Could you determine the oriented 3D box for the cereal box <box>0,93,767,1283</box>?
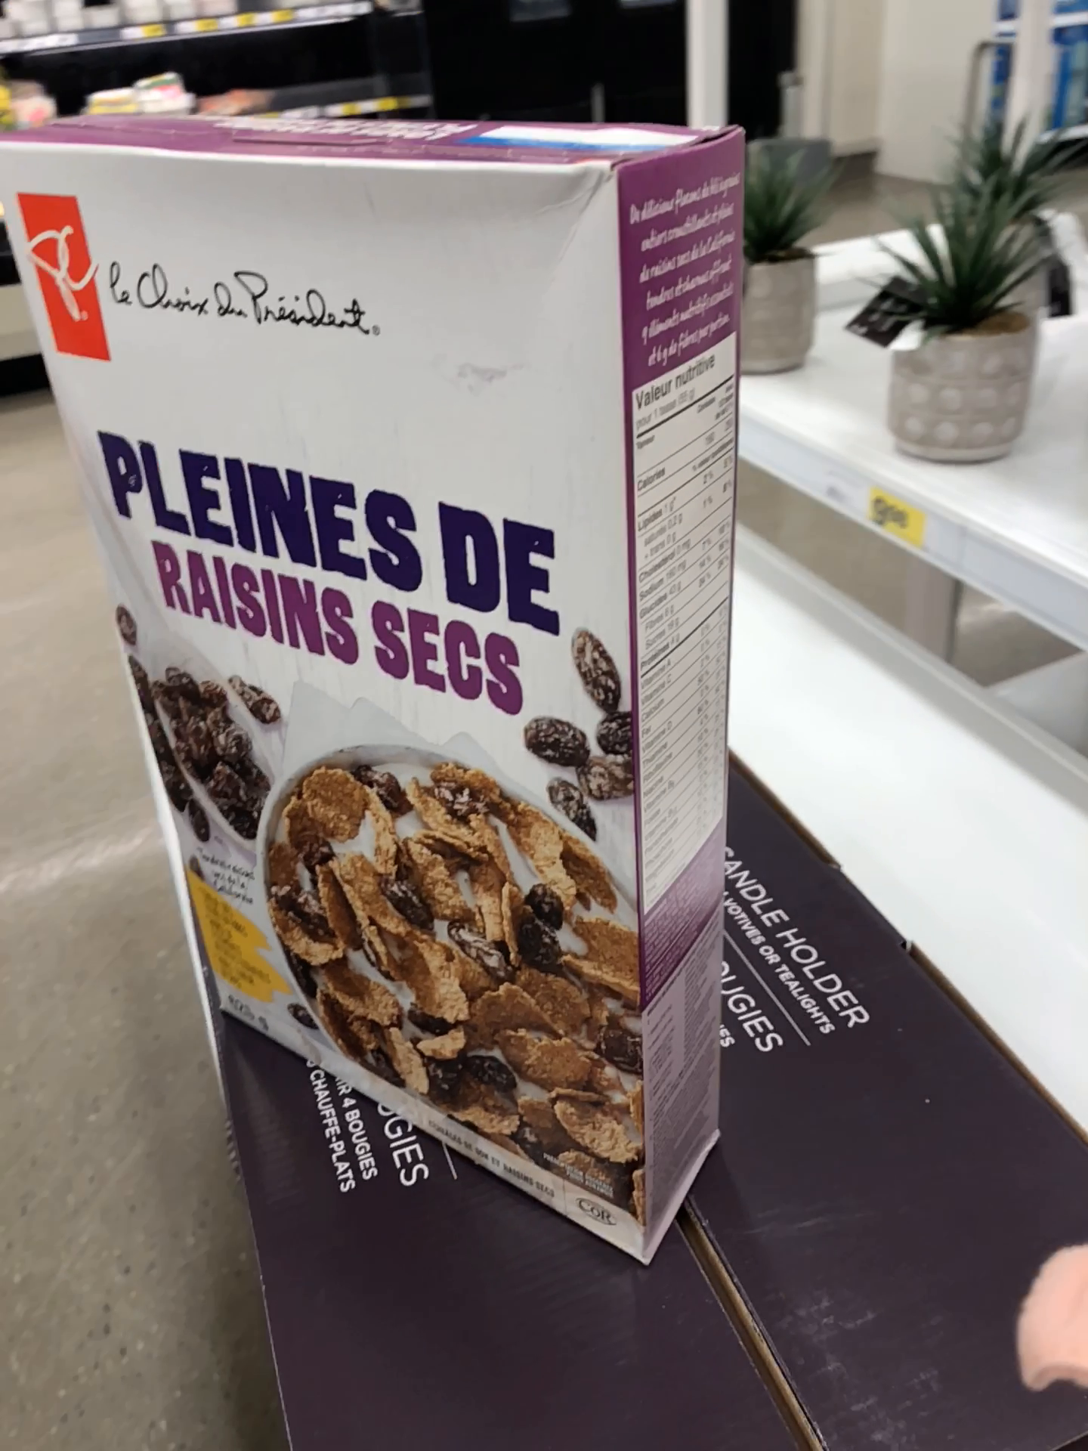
[{"bbox_3d":[-0.045,-0.007,0.342,0.200,0.299,0.060,19,40,33],"label":"cereal box"}]
